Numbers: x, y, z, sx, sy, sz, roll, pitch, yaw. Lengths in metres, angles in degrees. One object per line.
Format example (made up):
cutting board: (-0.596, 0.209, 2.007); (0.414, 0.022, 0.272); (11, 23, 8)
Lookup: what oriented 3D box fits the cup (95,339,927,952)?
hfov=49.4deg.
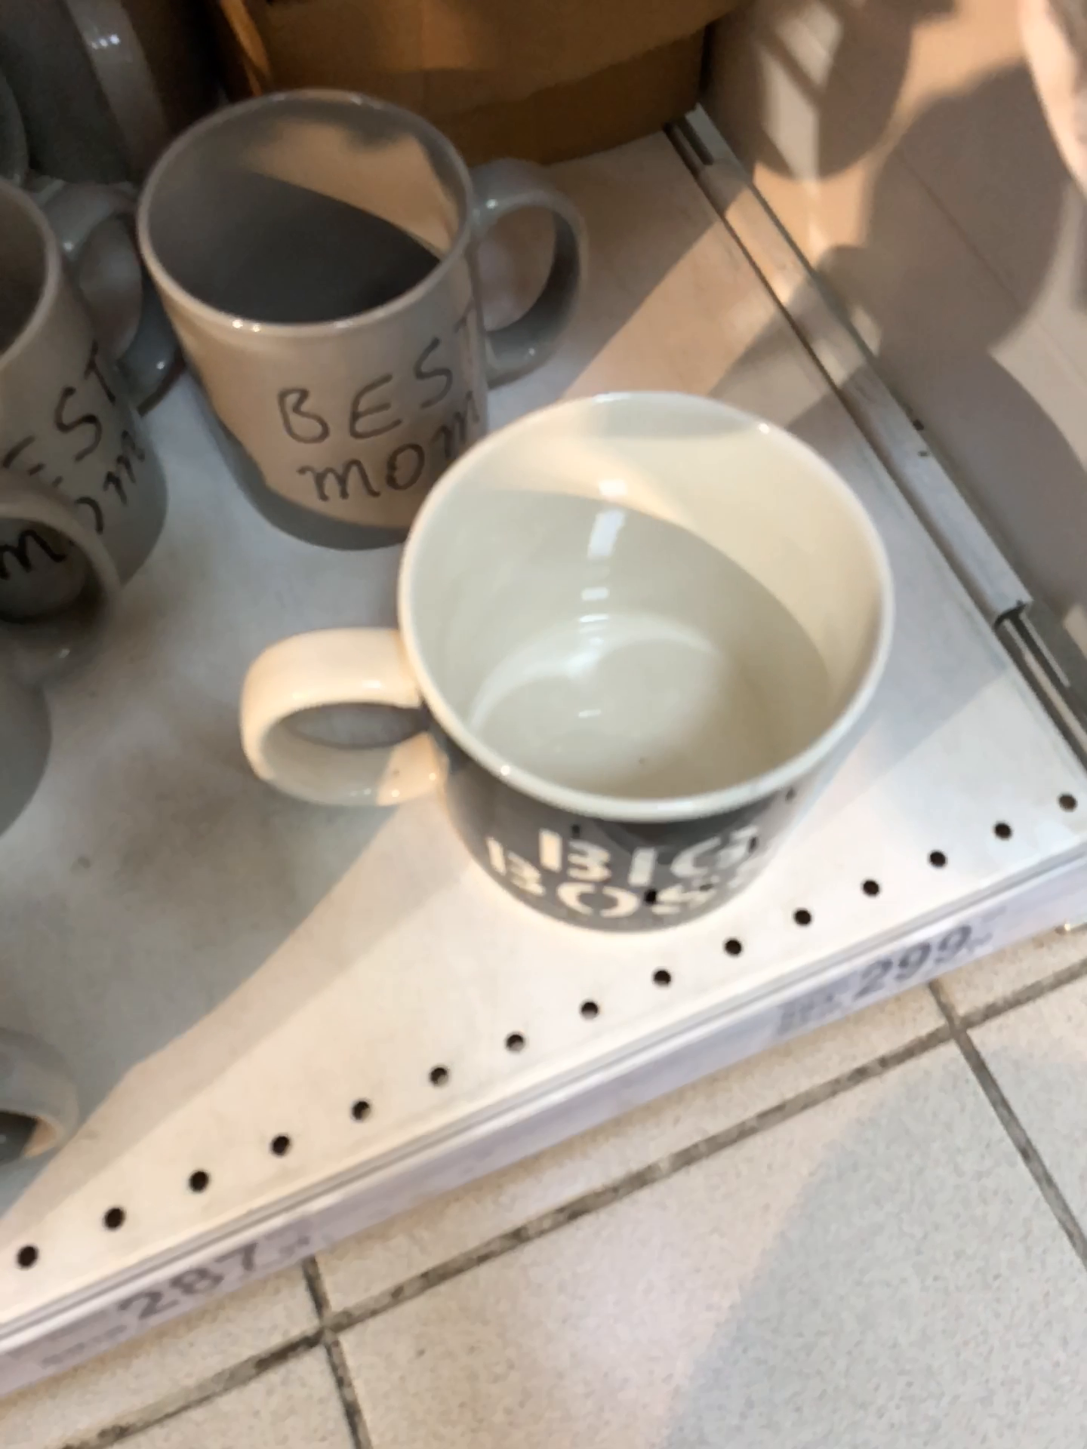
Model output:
cup: (-0.004, -0.016, 0.349); (0.188, 0.122, 0.128); (3, 66, 1)
